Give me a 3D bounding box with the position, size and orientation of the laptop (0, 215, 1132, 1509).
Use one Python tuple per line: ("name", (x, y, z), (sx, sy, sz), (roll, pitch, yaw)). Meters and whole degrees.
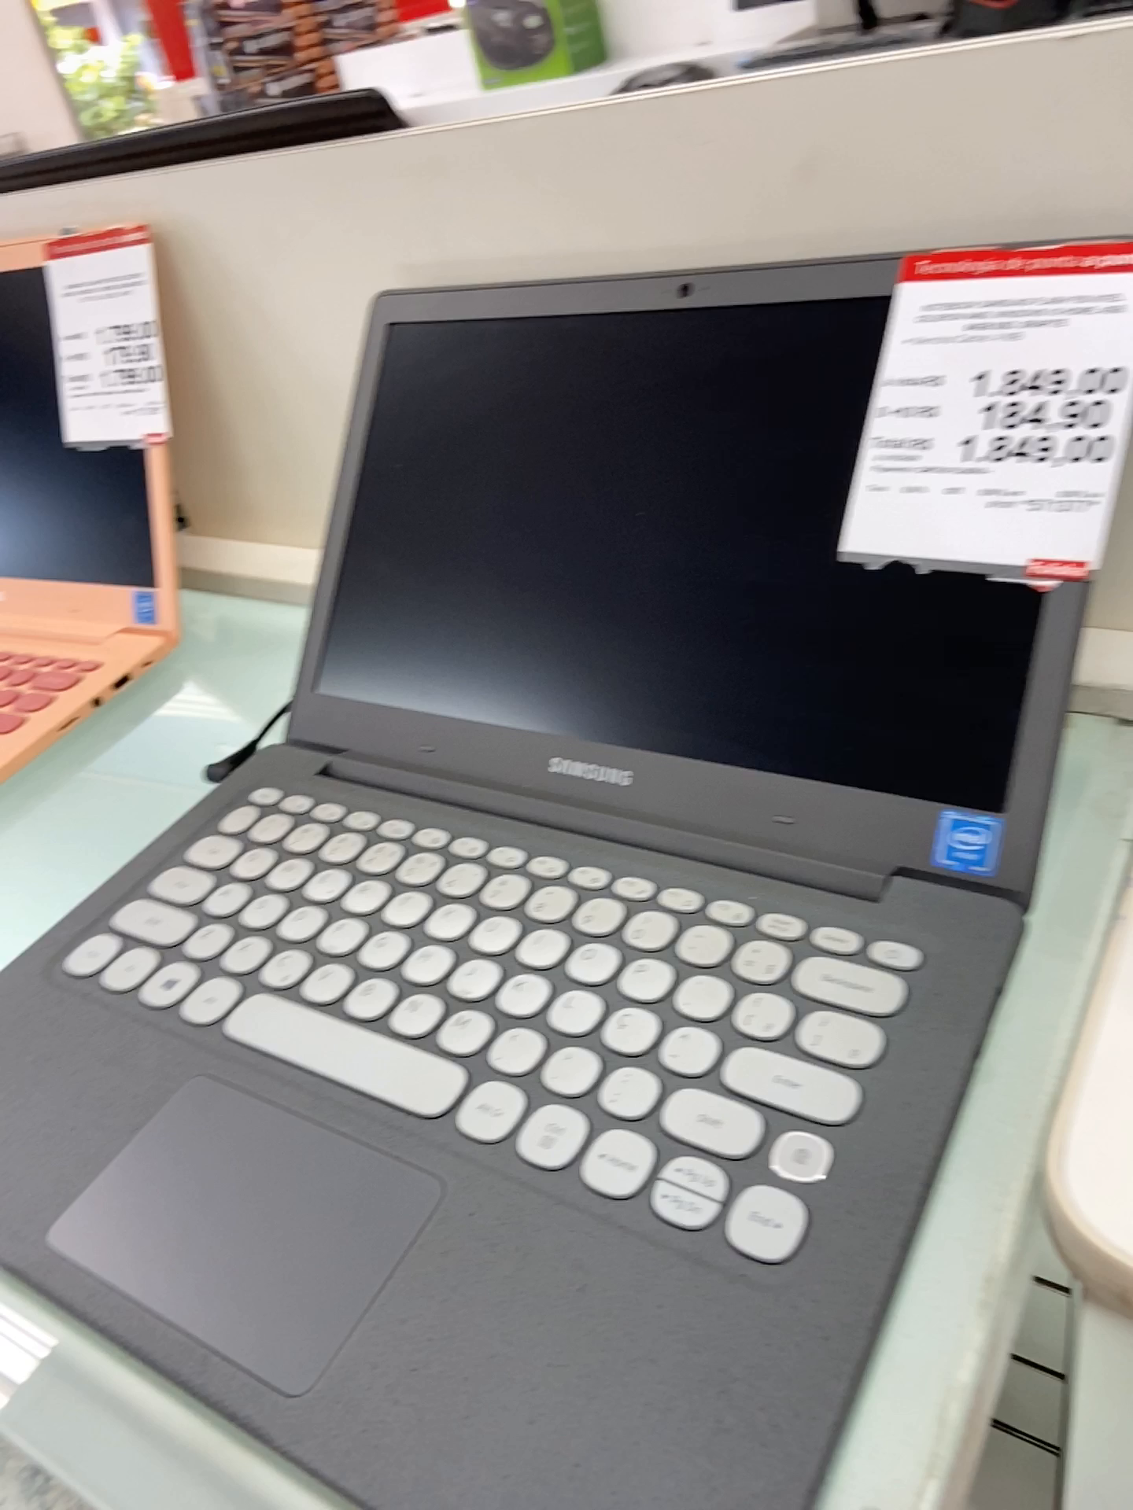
("laptop", (-0.030, -0.020, 0.365), (0.319, 0.144, 0.365), (10, 43, 32))
